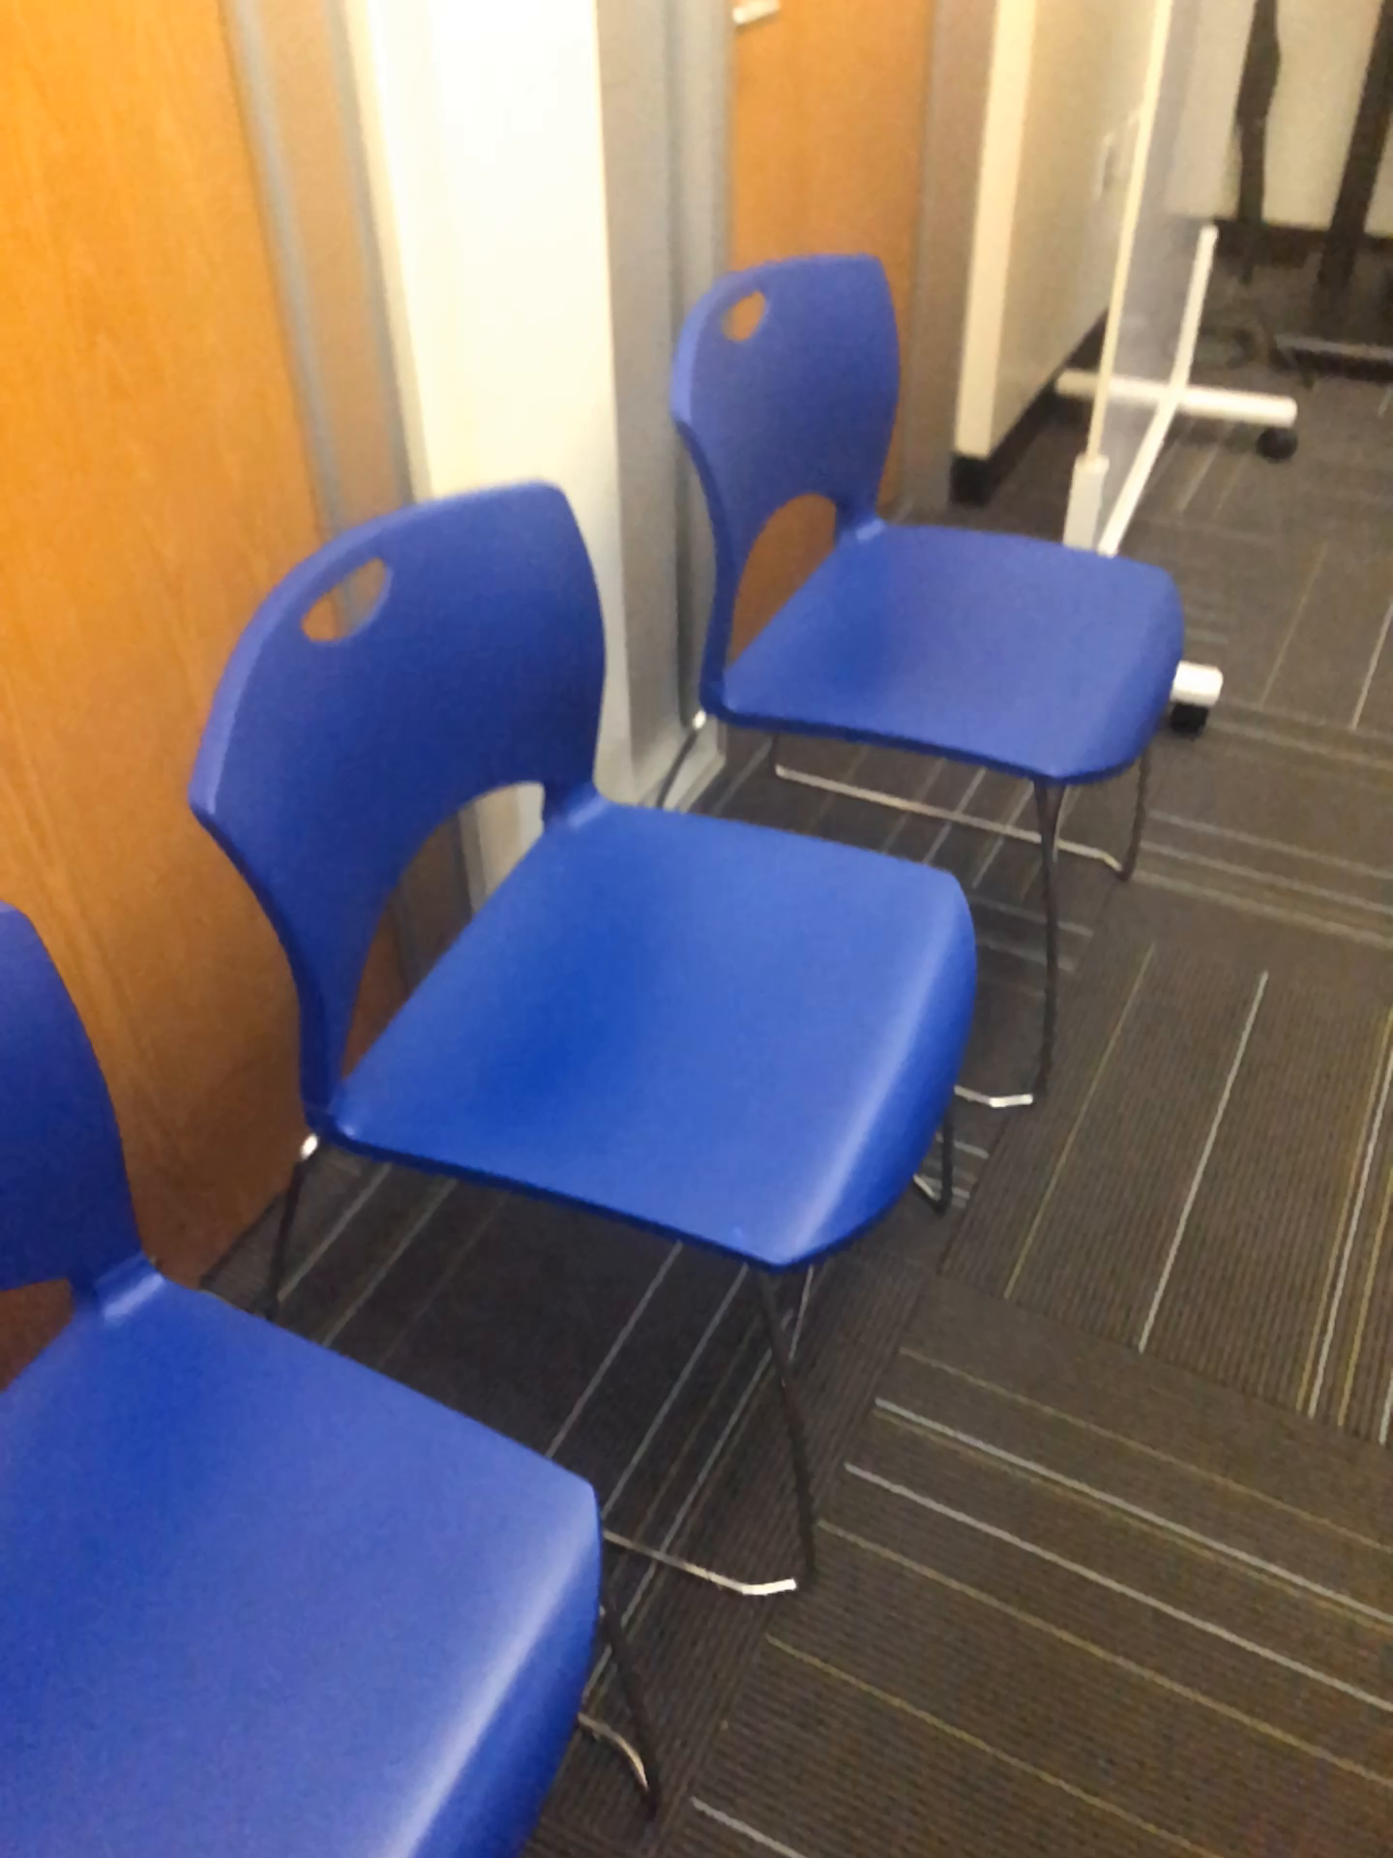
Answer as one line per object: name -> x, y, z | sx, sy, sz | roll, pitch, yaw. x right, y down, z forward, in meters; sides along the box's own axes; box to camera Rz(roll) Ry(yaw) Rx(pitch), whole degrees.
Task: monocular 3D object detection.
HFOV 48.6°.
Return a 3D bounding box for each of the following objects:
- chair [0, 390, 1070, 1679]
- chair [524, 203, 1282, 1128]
chair -> -0.108, 0.085, 1.353 | 0.630, 0.853, 0.524 | 16, 42, 19
chair -> 0.231, -0.315, 1.758 | 0.590, 0.773, 0.545 | 16, 42, 21
